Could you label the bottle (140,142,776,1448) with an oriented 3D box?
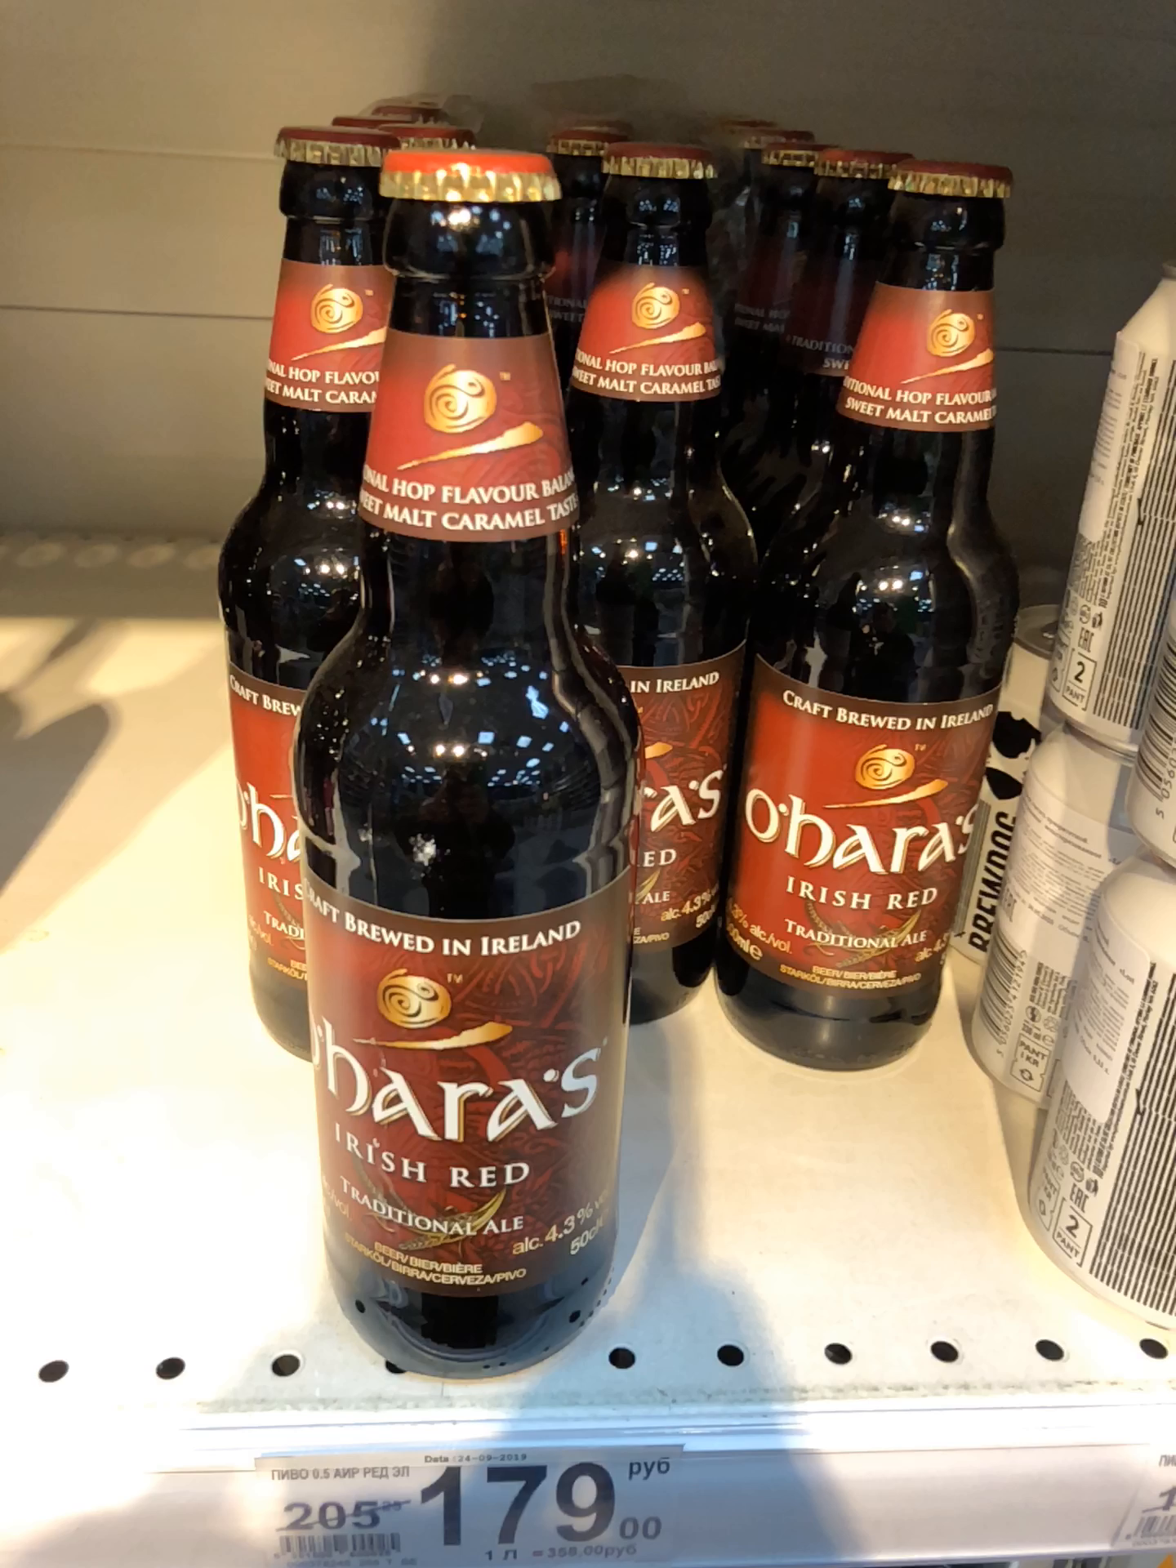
[{"bbox_3d":[-0.020,0.009,0.265,0.080,0.246,0.080,2,27,-1],"label":"bottle"}]
